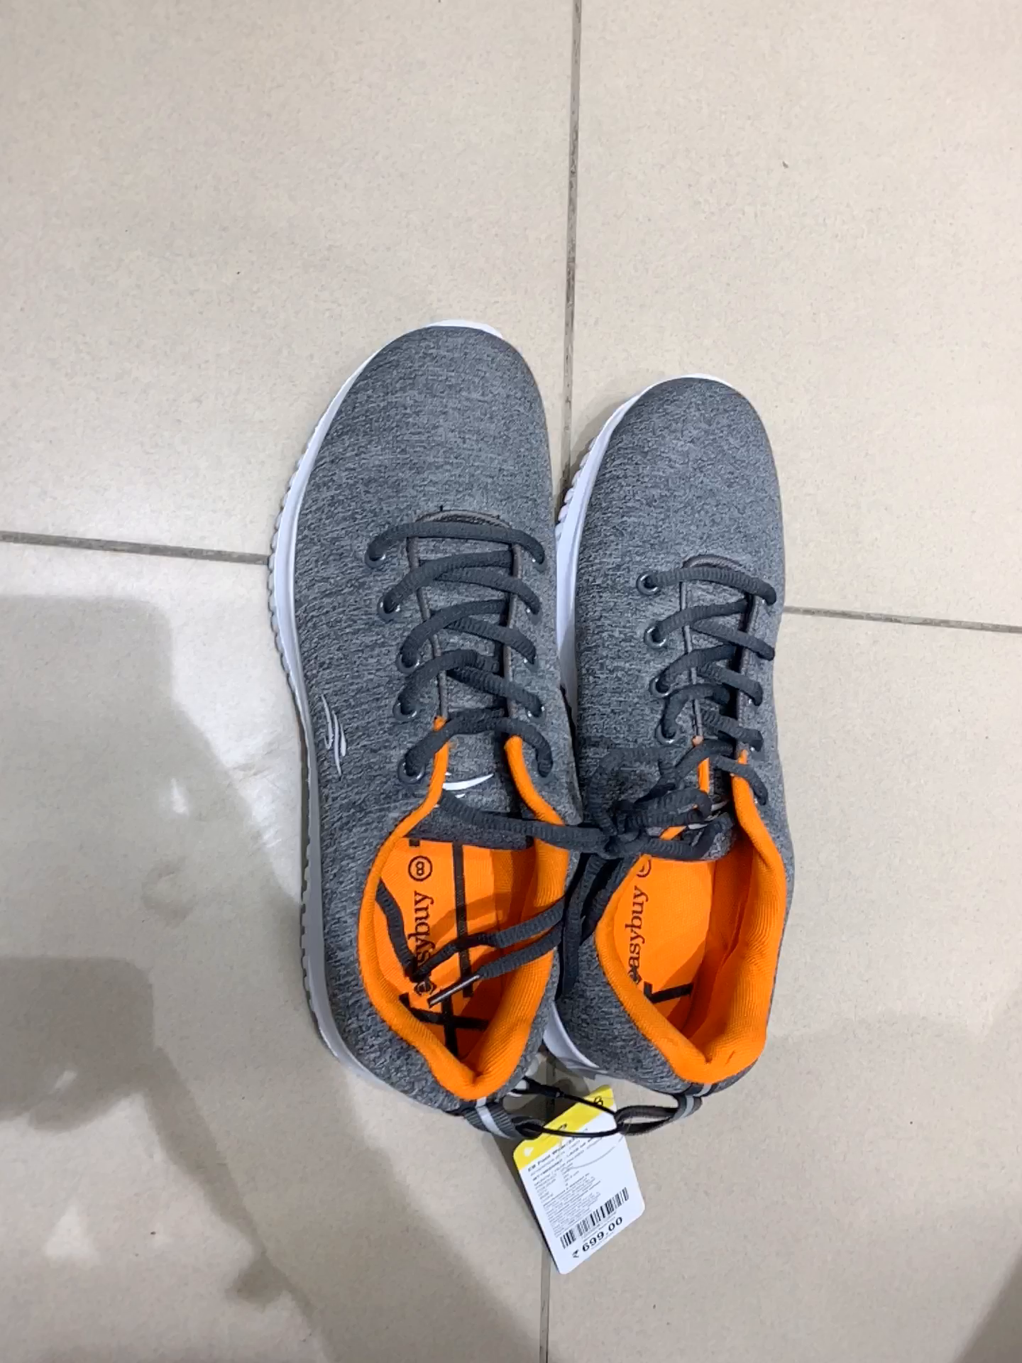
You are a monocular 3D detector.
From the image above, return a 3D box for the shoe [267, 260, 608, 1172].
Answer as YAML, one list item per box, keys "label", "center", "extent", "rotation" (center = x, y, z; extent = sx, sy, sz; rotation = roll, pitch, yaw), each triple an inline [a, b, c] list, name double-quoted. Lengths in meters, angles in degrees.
- label: "shoe"
  center: [-0.030, 0.011, 0.381]
  extent: [0.100, 0.090, 0.280]
  rotation: [1, 86, -20]

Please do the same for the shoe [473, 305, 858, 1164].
- label: "shoe"
  center: [0.060, 0.021, 0.424]
  extent: [0.100, 0.090, 0.300]
  rotation: [7, 84, -20]
